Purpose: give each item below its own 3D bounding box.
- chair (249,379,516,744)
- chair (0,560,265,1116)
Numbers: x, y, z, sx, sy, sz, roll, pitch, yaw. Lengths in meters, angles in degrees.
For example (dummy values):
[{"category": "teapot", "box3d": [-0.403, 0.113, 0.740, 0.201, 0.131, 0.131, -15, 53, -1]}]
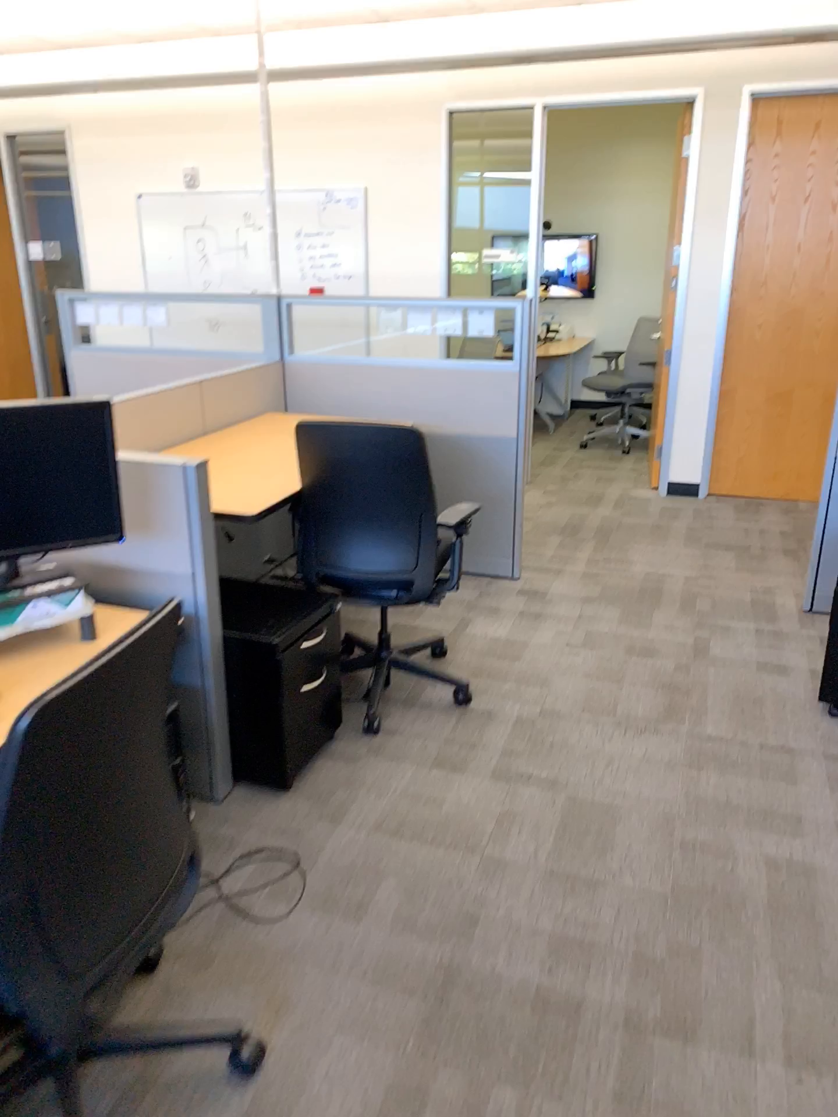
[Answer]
[{"category": "chair", "box3d": [-0.081, -0.048, 2.941, 0.631, 0.995, 0.763, 7, 21, 19]}, {"category": "chair", "box3d": [-0.647, 0.589, 1.527, 0.461, 0.995, 0.542, 7, 21, 19]}]
